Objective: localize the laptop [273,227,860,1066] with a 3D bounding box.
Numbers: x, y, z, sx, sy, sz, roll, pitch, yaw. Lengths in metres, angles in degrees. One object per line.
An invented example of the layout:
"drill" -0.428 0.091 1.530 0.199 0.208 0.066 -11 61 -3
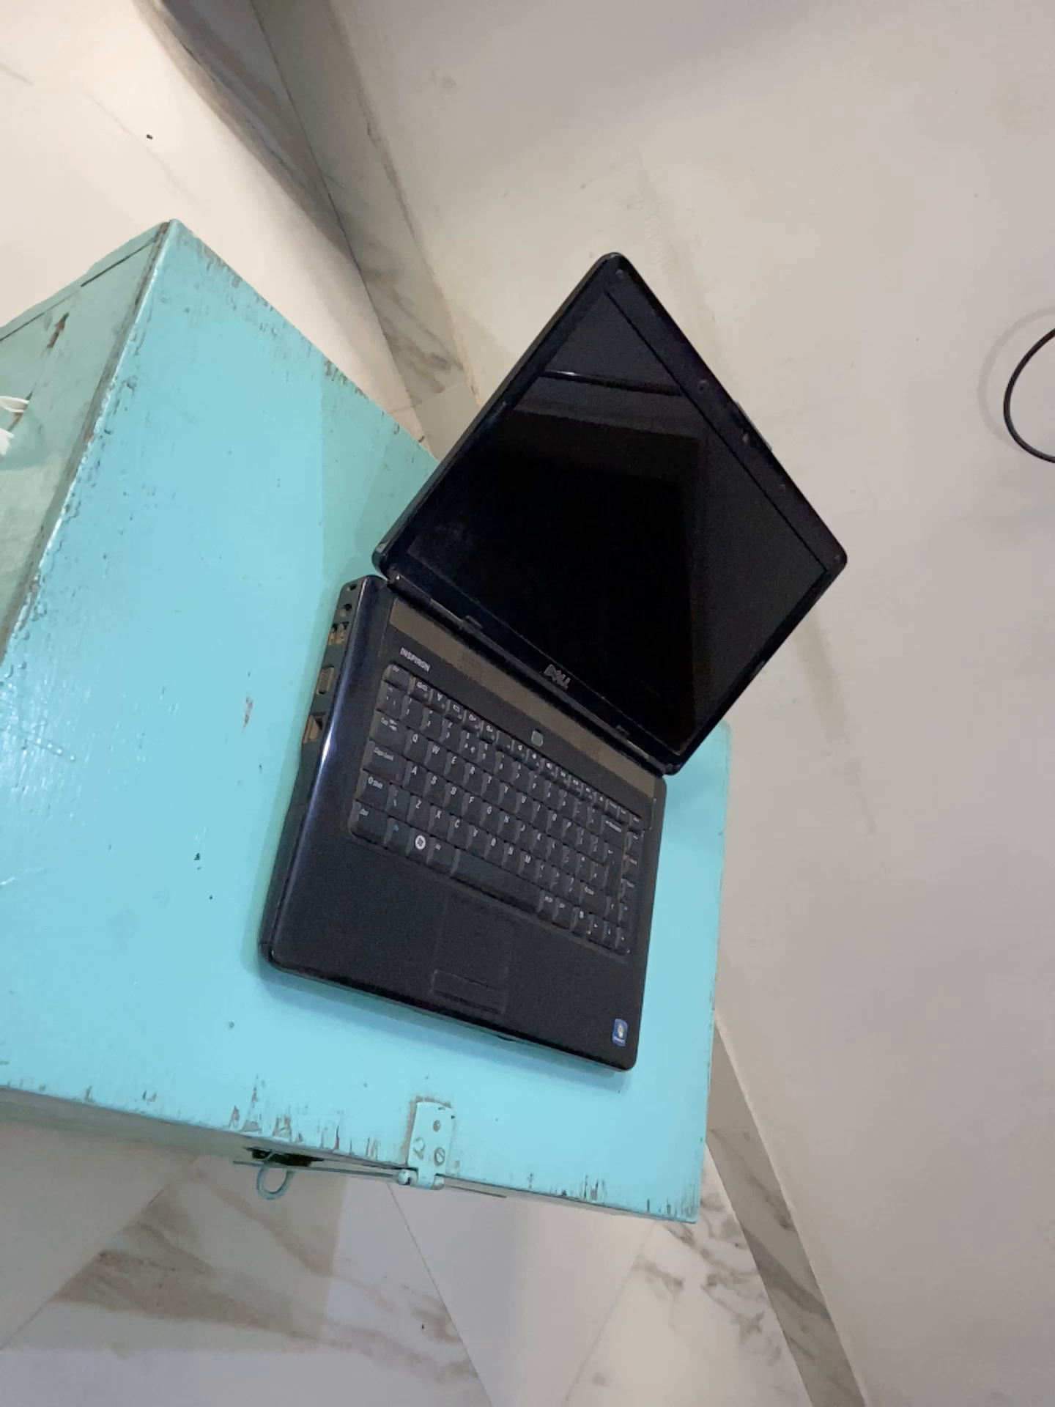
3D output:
"laptop" 0.071 0.000 0.719 0.364 0.162 0.412 34 56 -46
